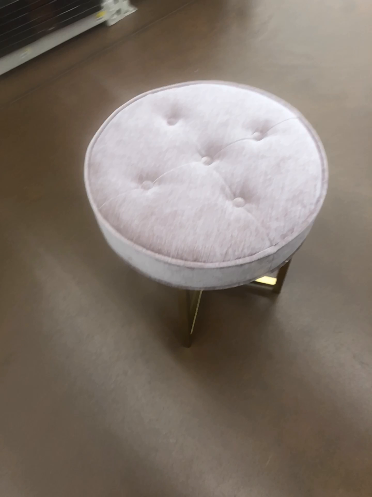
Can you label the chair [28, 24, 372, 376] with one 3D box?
[{"bbox_3d":[0.032,-0.104,0.884,0.450,0.389,0.471,-31,62,-15],"label":"chair"}]
